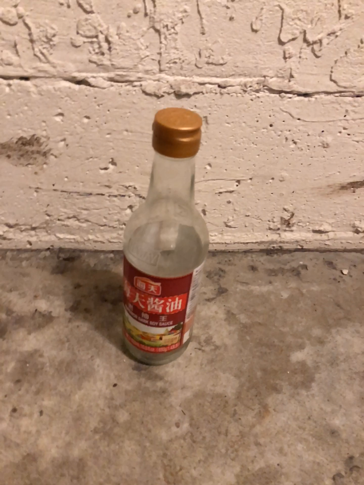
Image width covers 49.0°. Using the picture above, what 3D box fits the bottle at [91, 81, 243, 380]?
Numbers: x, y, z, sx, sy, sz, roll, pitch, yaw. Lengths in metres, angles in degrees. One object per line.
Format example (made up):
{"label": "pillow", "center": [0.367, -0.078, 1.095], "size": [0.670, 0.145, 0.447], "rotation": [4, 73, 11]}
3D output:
{"label": "bottle", "center": [-0.014, 0.007, 0.315], "size": [0.070, 0.228, 0.070], "rotation": [3, 41, -3]}
